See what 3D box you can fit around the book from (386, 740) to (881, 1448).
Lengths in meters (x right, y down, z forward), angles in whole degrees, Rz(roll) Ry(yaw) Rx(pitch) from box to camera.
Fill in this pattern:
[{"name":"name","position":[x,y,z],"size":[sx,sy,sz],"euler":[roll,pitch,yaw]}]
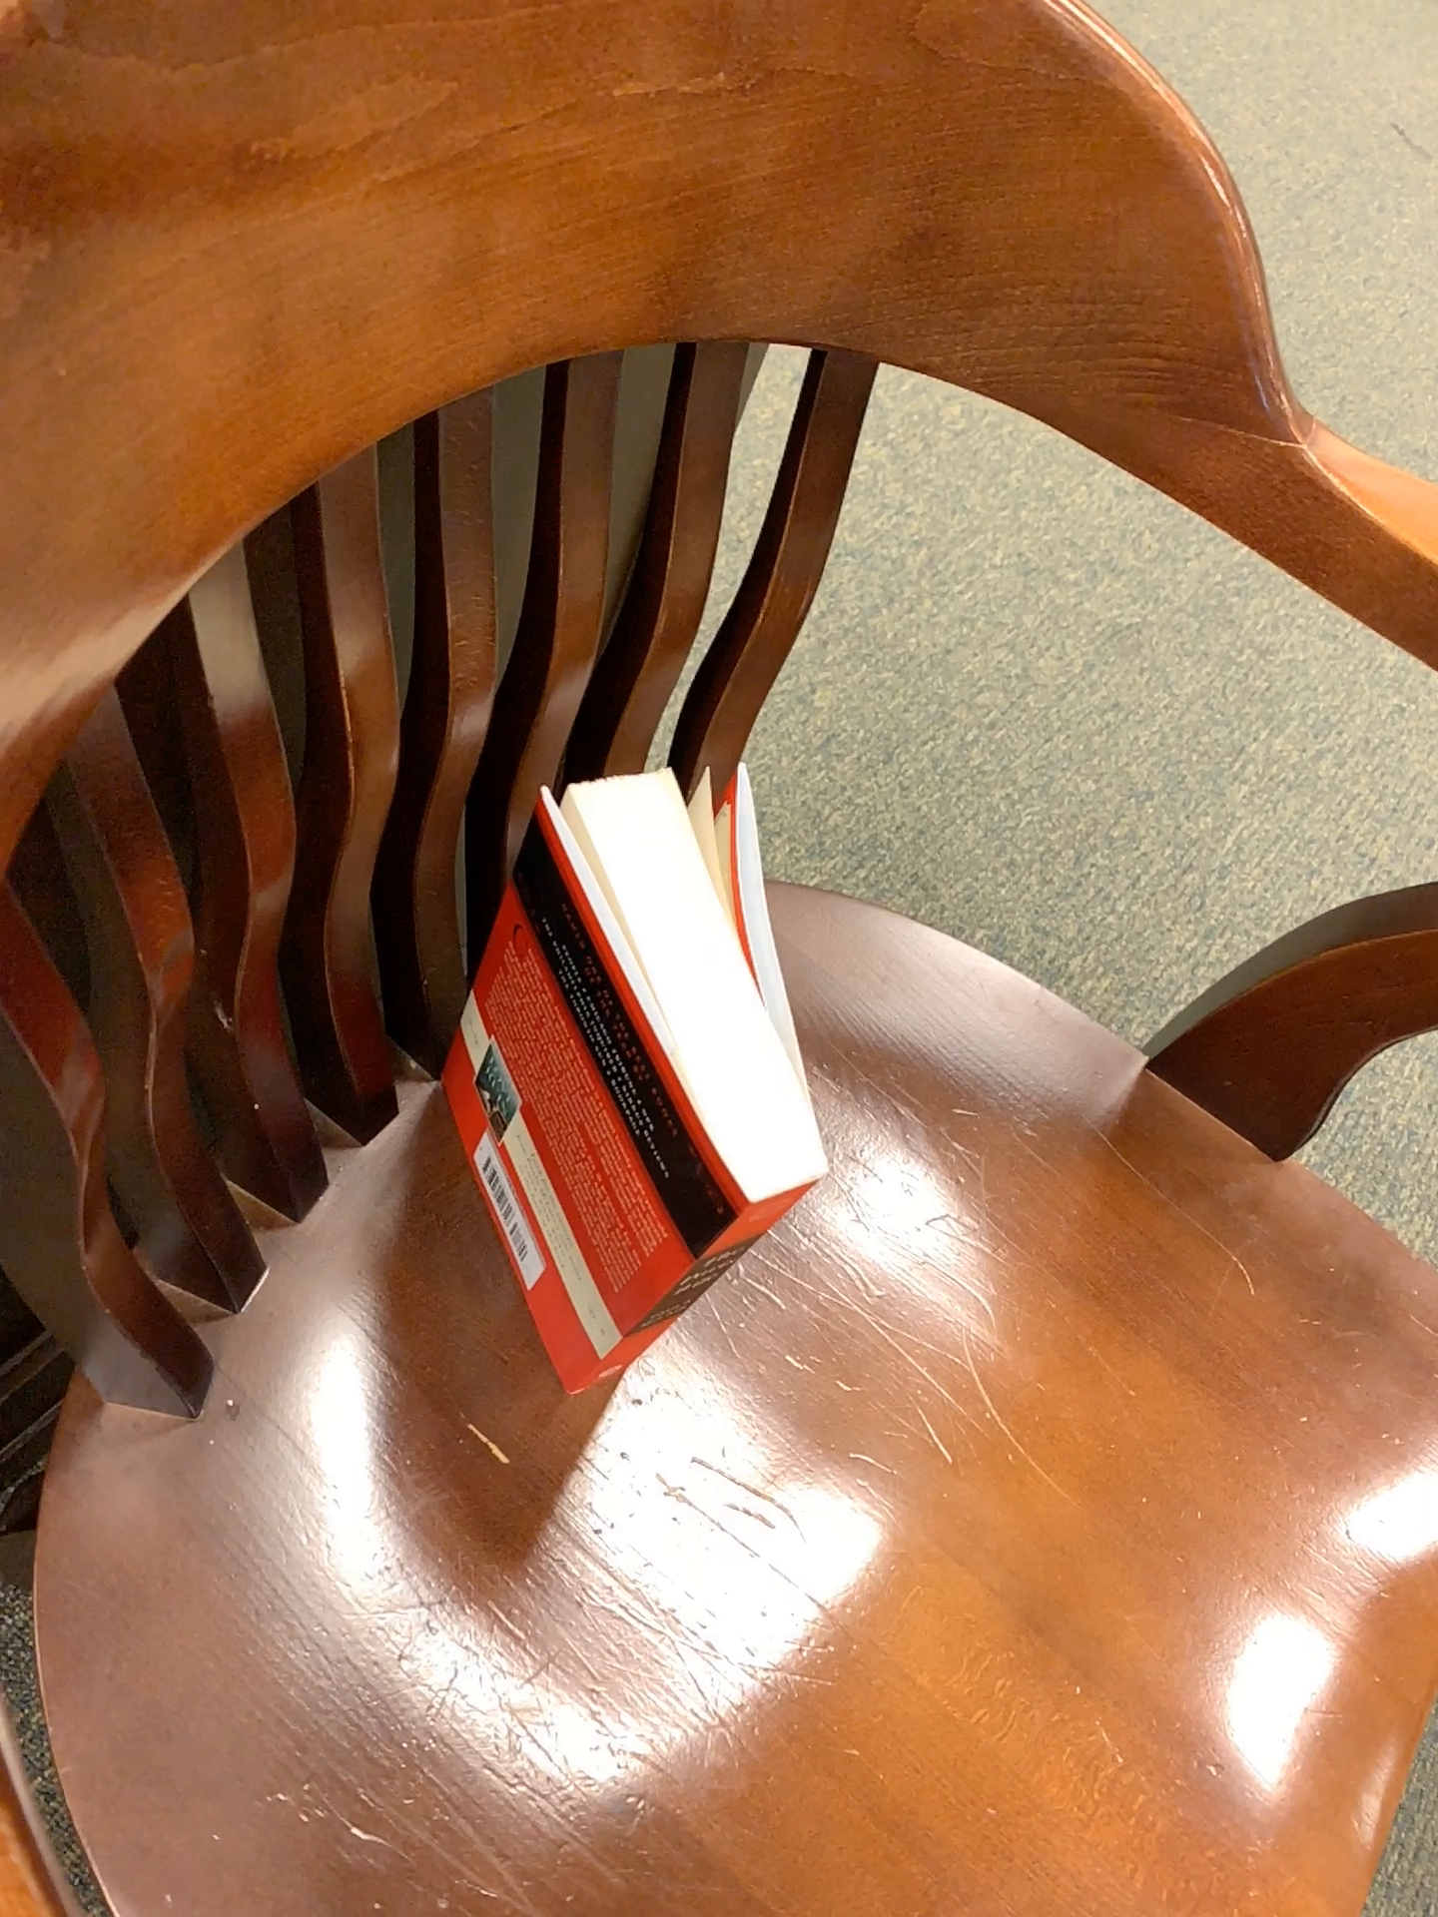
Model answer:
[{"name":"book","position":[-0.044,0.052,0.481],"size":[0.071,0.199,0.150],"euler":[-6,62,-25]}]
